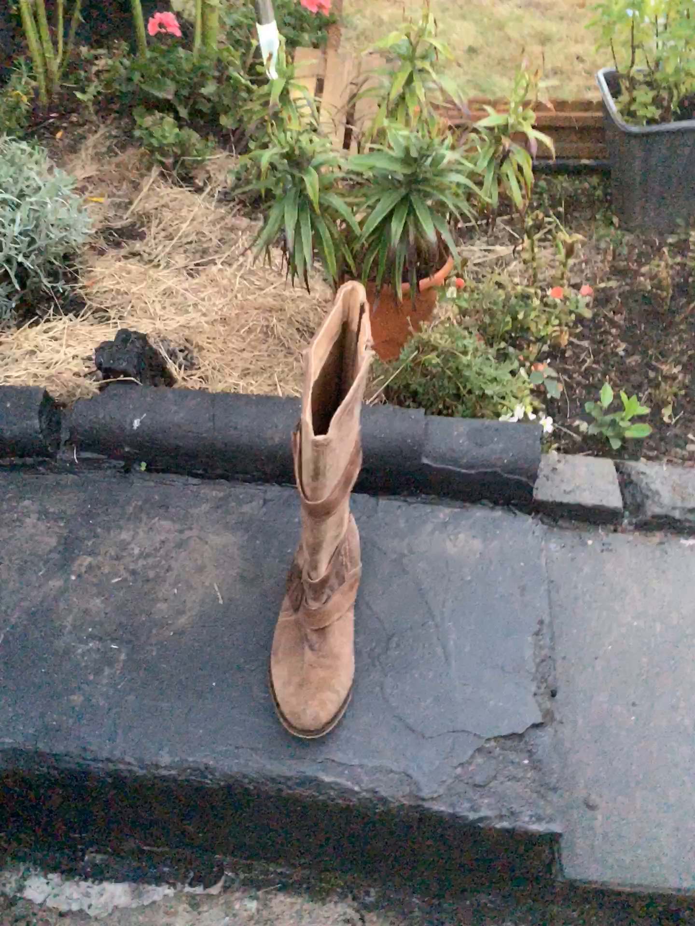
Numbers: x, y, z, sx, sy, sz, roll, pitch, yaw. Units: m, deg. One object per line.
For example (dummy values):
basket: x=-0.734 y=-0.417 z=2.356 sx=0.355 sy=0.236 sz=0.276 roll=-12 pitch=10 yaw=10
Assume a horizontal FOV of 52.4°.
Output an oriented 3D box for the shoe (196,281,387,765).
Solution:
shoe: x=-0.028 y=0.071 z=0.660 sx=0.100 sy=0.376 sz=0.272 roll=4 pitch=48 yaw=4
